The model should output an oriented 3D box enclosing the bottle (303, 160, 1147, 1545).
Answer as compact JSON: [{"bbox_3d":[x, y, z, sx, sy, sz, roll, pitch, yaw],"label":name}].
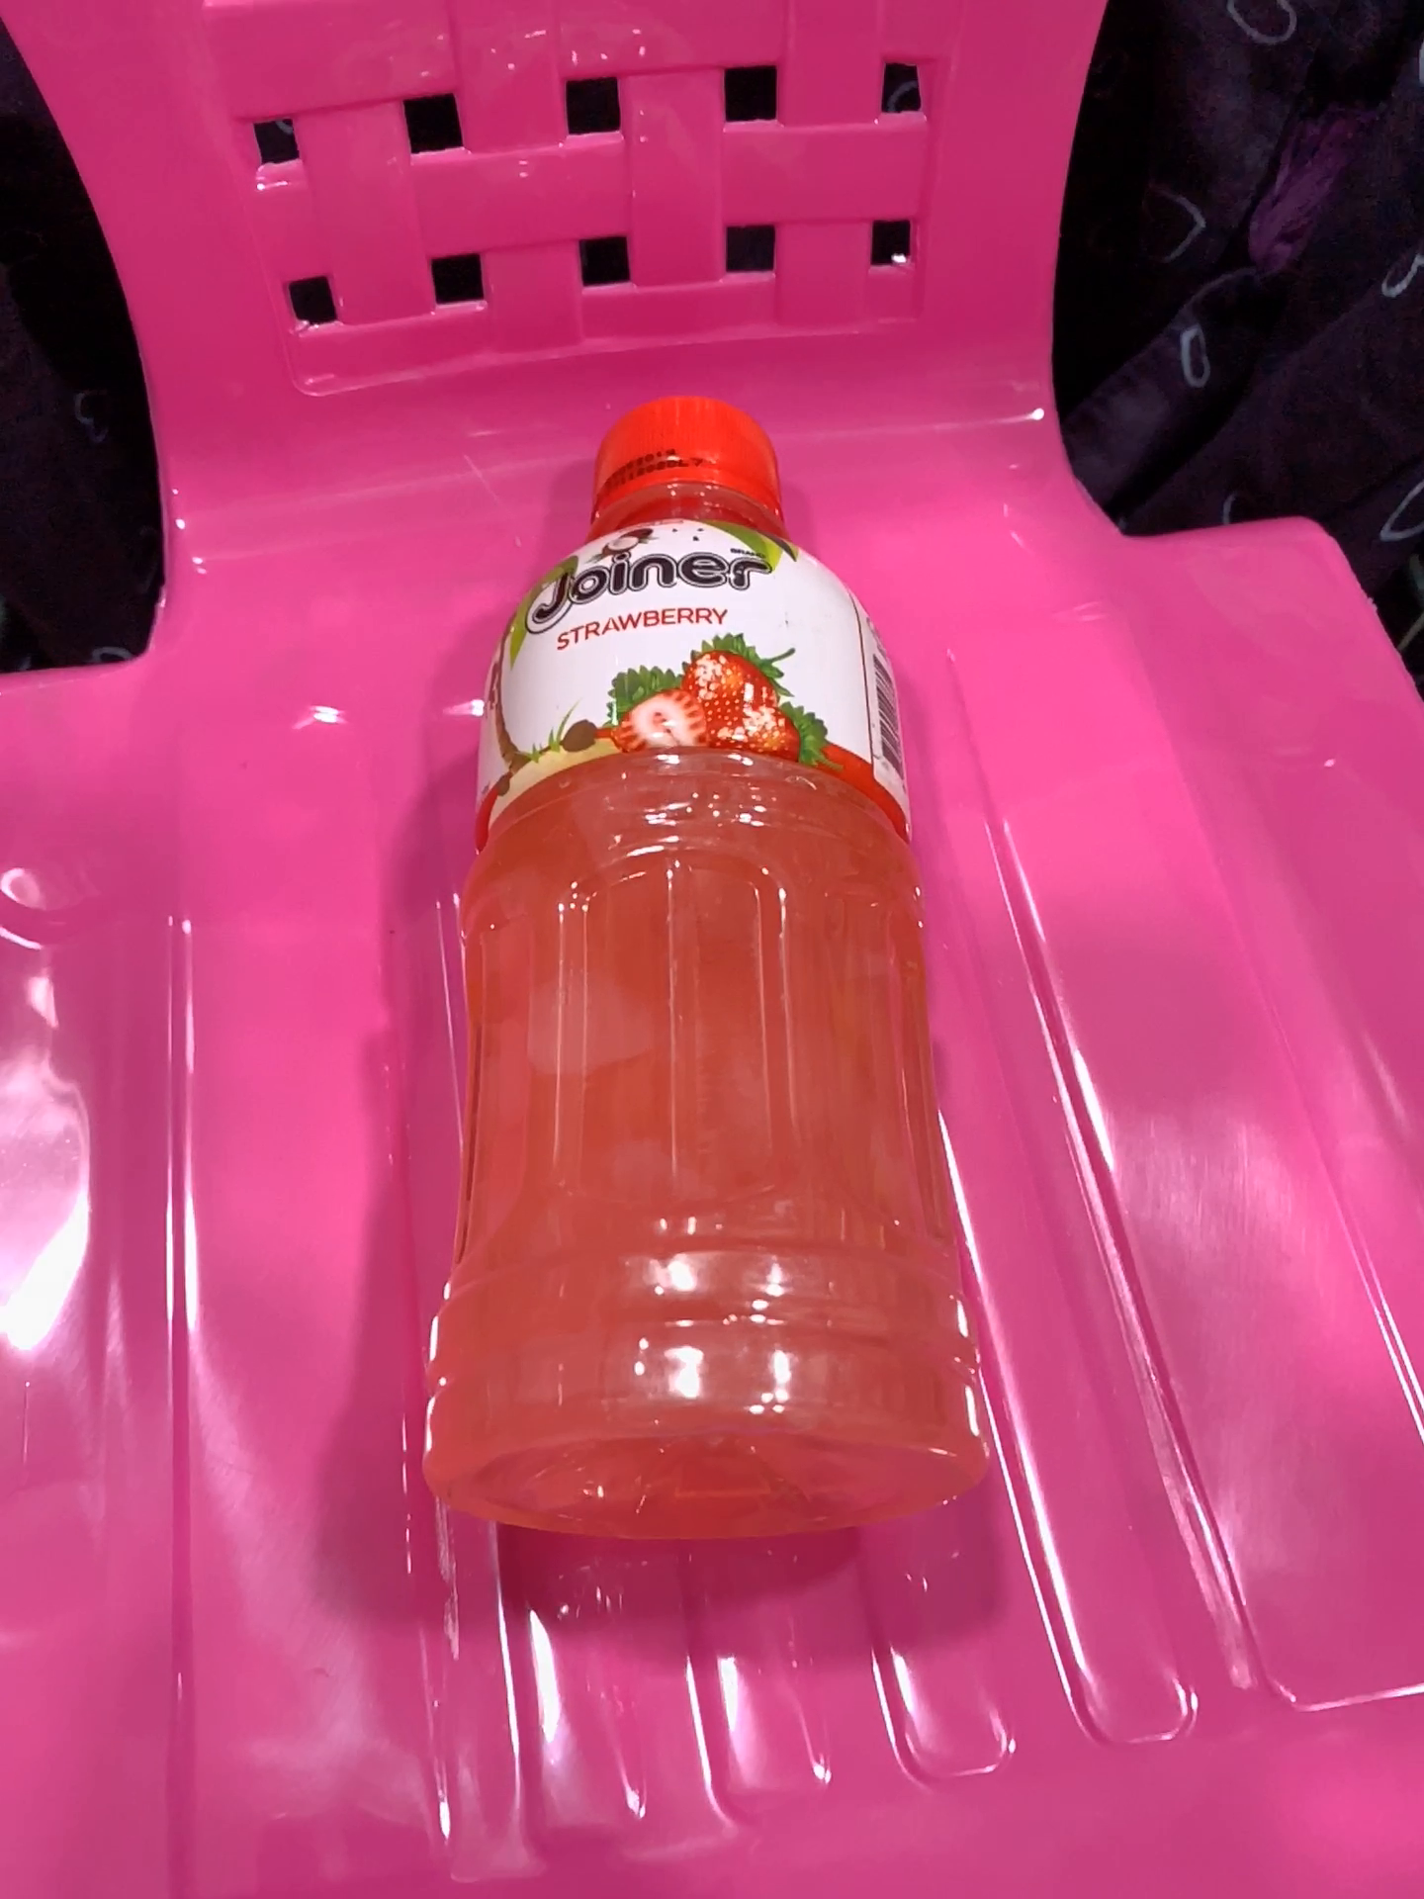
[{"bbox_3d":[-0.002,-0.014,0.188,0.070,0.070,0.160,-1,65,-3],"label":"bottle"}]
